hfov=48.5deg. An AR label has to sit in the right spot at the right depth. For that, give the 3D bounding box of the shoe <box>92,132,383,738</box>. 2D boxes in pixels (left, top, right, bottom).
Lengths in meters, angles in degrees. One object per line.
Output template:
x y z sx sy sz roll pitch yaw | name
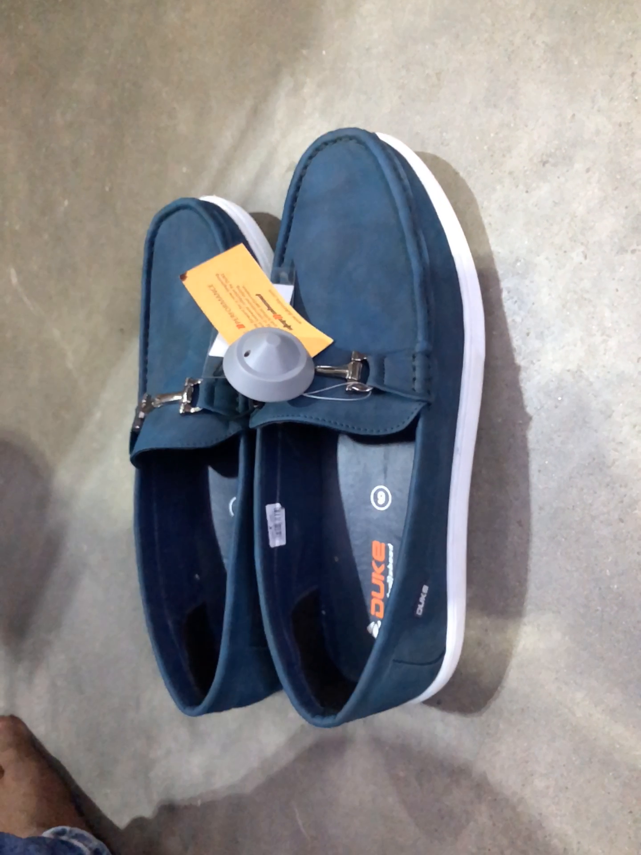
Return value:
-0.051 0.006 0.423 0.110 0.080 0.310 -11 84 33 | shoe

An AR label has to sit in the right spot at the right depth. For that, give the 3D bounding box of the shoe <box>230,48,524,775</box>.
0.028 -0.006 0.366 0.110 0.080 0.310 -4 88 34 | shoe
